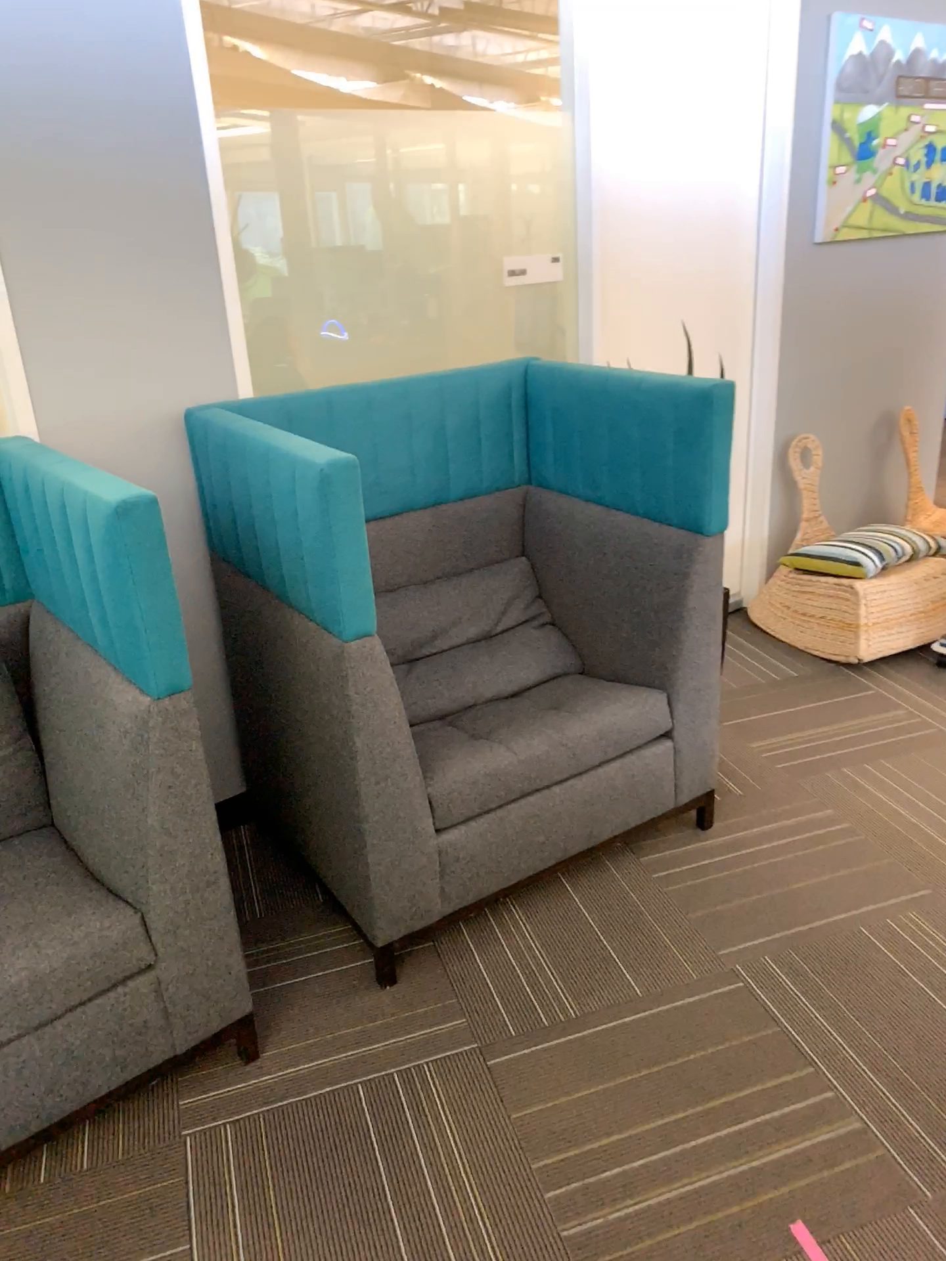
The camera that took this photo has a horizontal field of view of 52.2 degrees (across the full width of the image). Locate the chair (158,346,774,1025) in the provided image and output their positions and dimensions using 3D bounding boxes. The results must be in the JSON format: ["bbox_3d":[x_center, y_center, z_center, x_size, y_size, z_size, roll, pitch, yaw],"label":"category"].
[{"bbox_3d":[-0.026,-0.011,2.469,1.051,1.213,1.015,-17,26,-29],"label":"chair"}]
